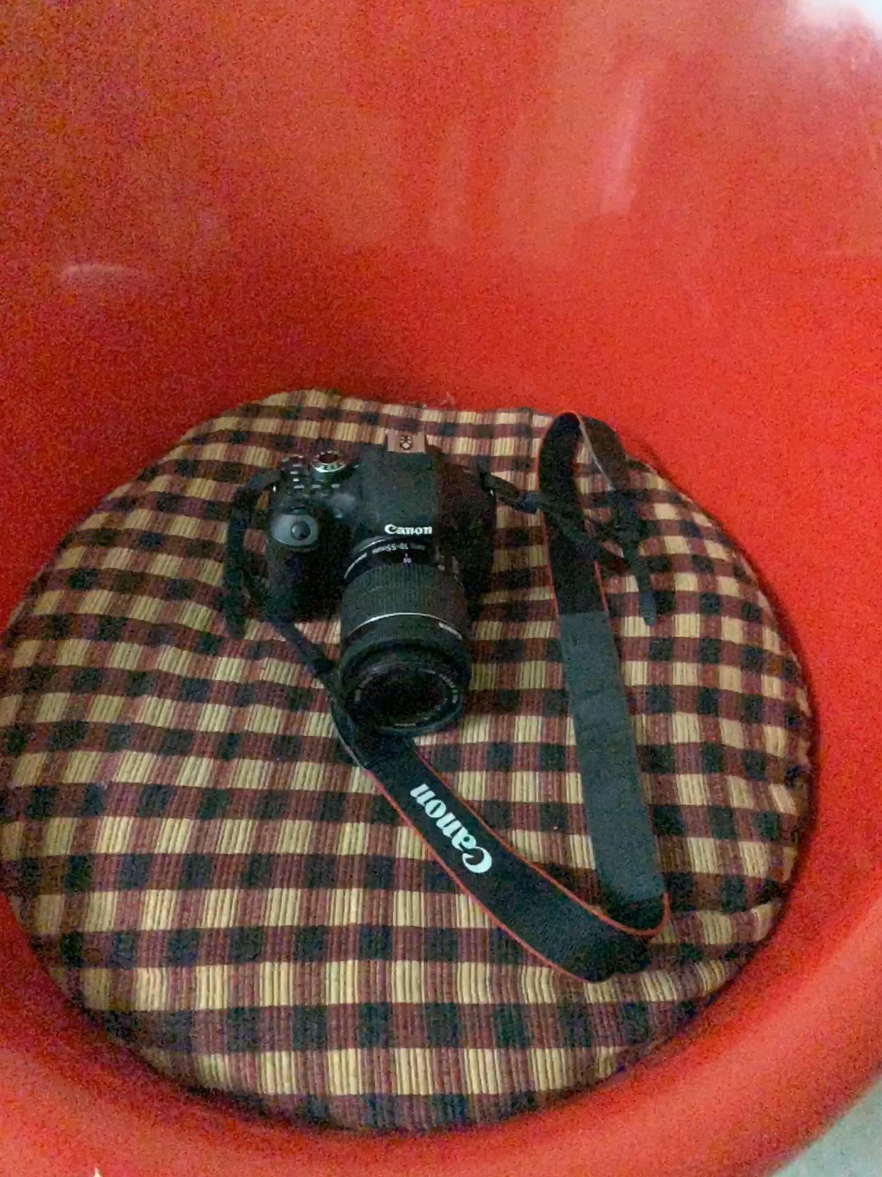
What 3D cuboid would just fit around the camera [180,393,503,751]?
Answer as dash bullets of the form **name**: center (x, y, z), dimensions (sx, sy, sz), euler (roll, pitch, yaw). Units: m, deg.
- **camera**: center (-0.047, -0.007, 0.486), dimensions (0.140, 0.130, 0.139), euler (1, 51, -3)
